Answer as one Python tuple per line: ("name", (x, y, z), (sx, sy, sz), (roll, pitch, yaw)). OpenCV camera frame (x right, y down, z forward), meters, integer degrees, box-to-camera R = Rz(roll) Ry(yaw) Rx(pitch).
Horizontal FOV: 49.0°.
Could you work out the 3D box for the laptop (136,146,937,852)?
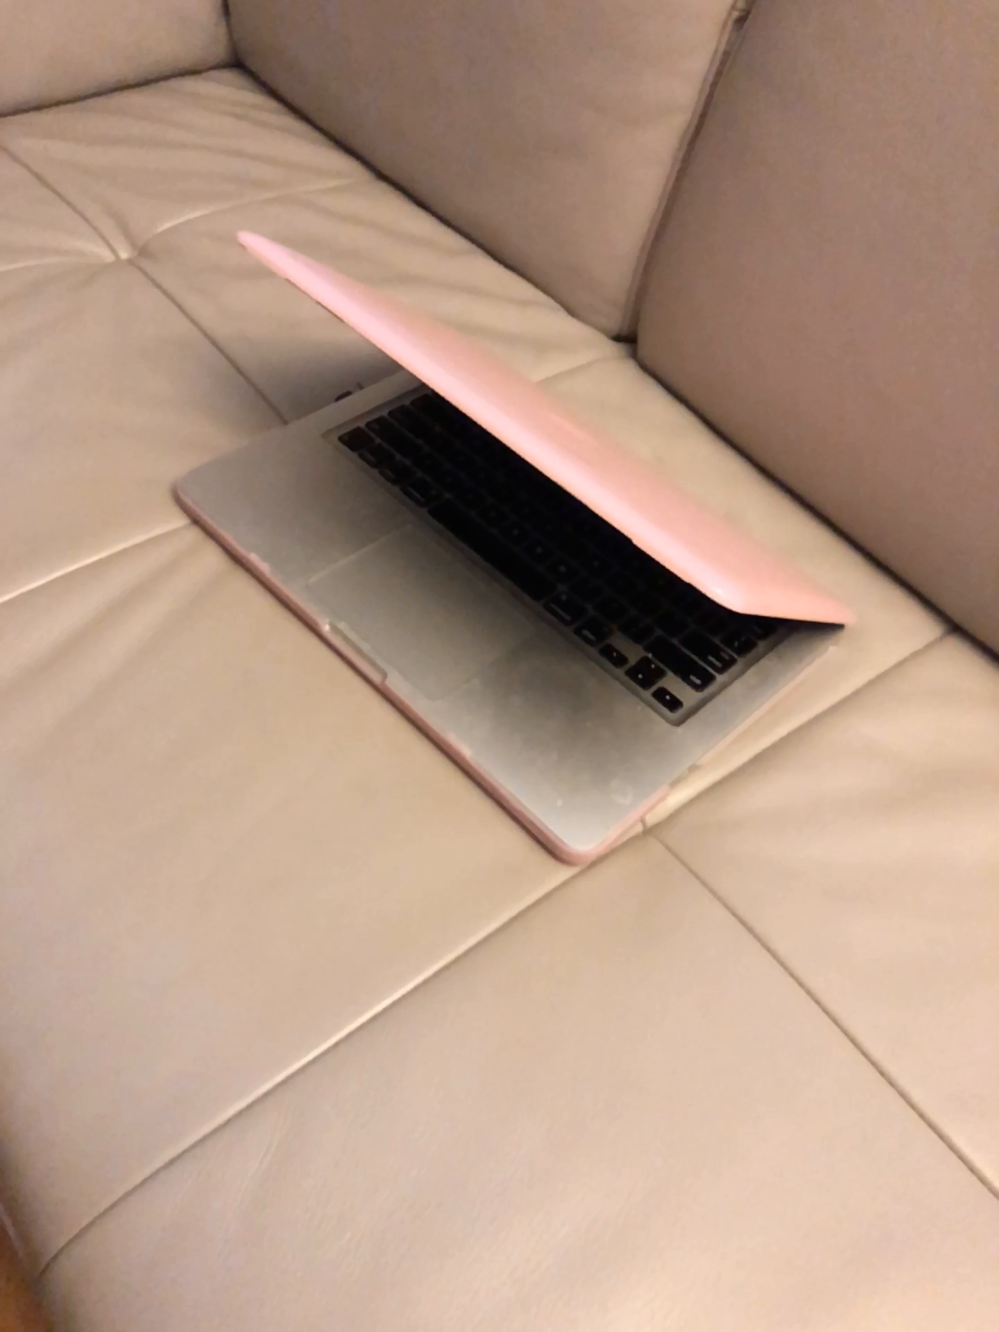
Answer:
("laptop", (0.013, -0.105, 0.563), (0.220, 0.145, 0.308), (-35, 63, -29))
